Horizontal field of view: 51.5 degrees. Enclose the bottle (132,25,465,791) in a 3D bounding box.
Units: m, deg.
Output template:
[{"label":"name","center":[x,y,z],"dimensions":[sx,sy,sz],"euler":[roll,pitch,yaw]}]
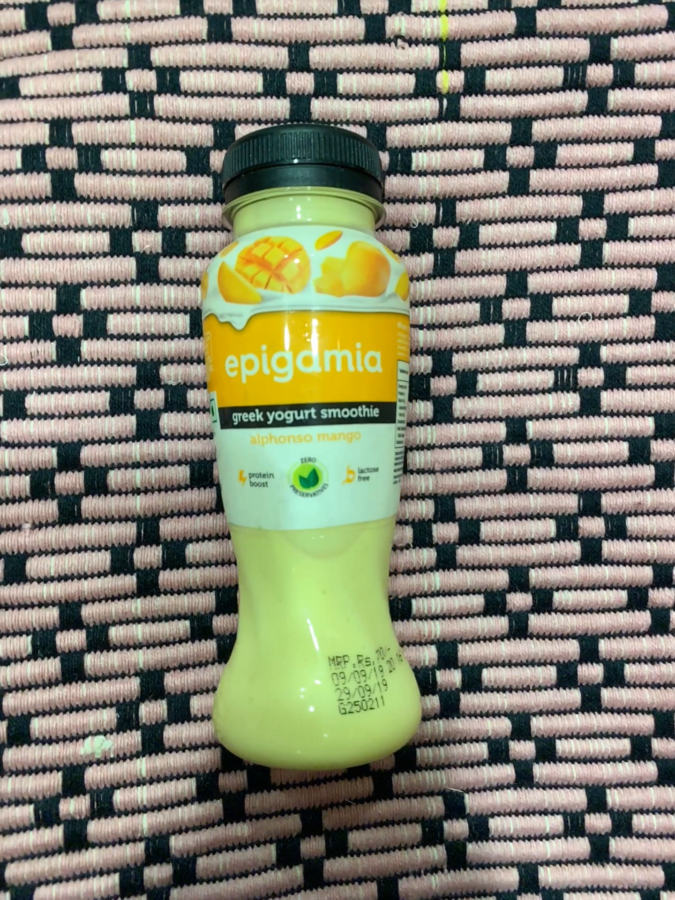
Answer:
[{"label":"bottle","center":[-0.007,-0.008,0.180],"dimensions":[0.060,0.060,0.160],"euler":[-5,88,5]}]
